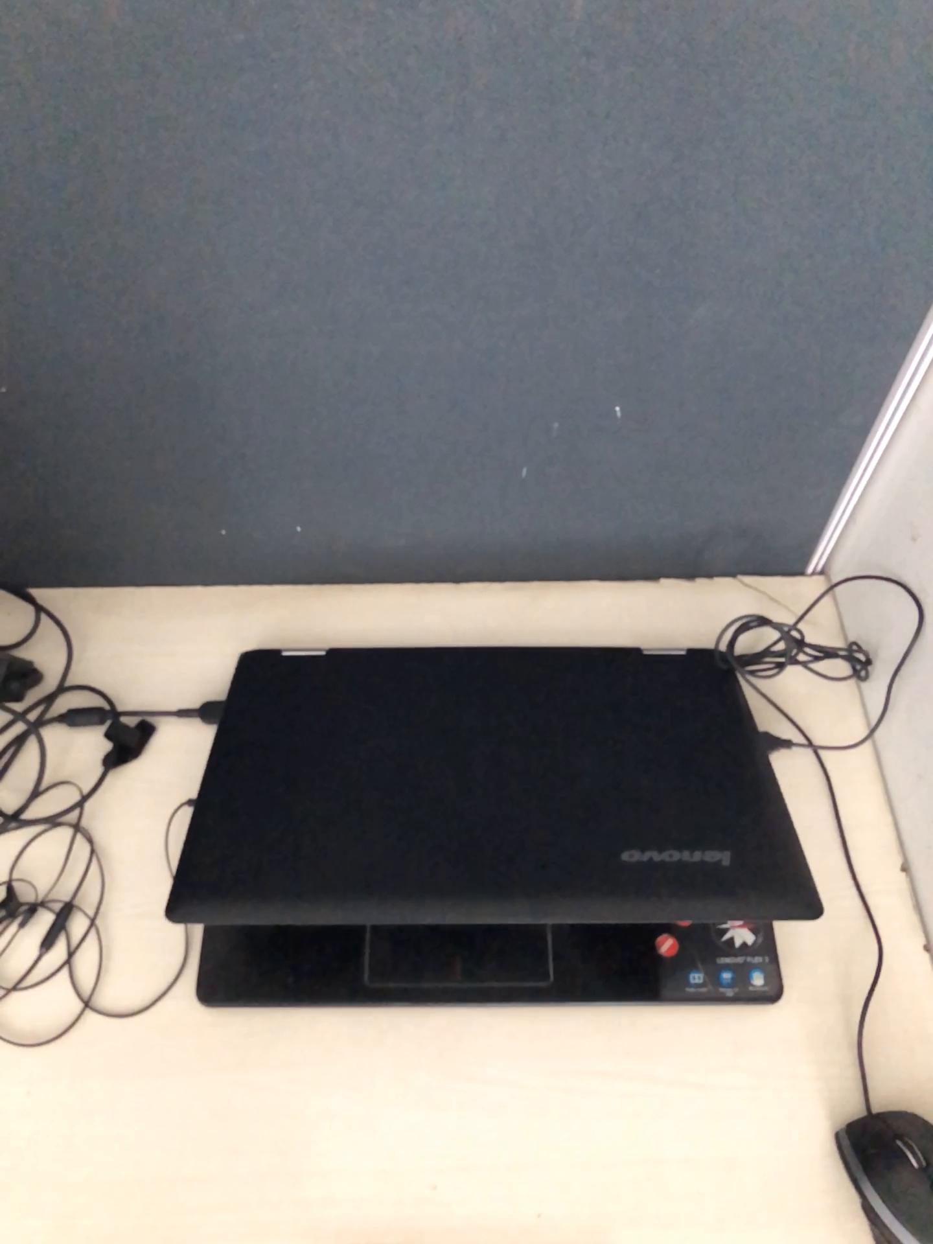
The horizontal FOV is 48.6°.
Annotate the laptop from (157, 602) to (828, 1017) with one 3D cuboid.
[{"bbox_3d":[0.012,0.103,0.597,0.326,0.083,0.220,0,56,0],"label":"laptop"}]
